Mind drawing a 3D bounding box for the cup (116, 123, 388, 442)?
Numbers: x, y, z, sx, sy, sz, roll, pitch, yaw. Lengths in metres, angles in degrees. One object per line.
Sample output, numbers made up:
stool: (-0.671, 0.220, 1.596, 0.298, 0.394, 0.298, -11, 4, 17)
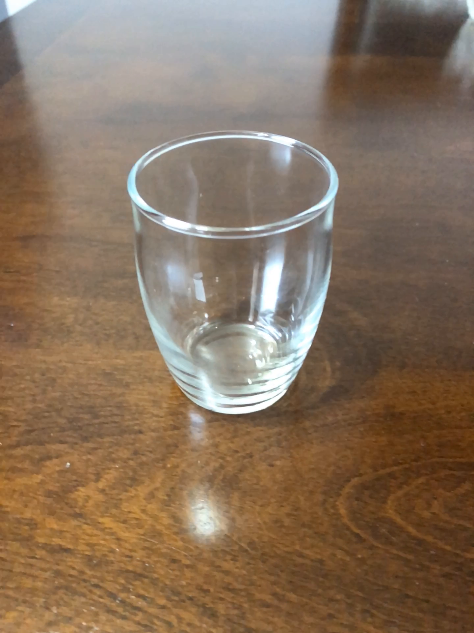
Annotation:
cup: (0.000, -0.012, 0.168, 0.060, 0.070, 0.060, 0, 42, 0)
